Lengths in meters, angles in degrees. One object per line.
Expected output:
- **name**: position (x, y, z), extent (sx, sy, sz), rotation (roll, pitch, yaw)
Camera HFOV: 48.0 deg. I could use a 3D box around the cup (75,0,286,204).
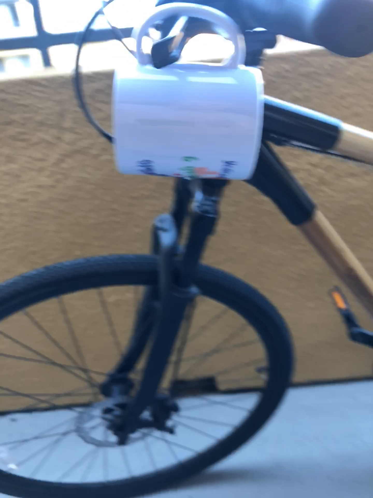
- **cup**: position (0.002, -0.109, 0.306), extent (0.120, 0.119, 0.091), rotation (2, 35, 7)
